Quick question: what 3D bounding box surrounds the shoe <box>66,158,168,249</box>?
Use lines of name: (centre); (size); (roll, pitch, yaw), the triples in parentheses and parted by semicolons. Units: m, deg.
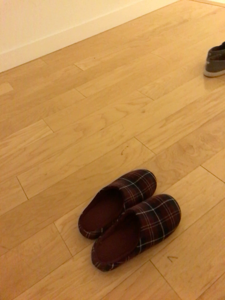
shoe: (0.017, 0.136, 0.683); (0.271, 0.030, 0.120); (-34, 49, -21)

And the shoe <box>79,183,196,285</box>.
shoe: (0.064, 0.198, 0.612); (0.271, 0.030, 0.121); (-28, 46, -16)
